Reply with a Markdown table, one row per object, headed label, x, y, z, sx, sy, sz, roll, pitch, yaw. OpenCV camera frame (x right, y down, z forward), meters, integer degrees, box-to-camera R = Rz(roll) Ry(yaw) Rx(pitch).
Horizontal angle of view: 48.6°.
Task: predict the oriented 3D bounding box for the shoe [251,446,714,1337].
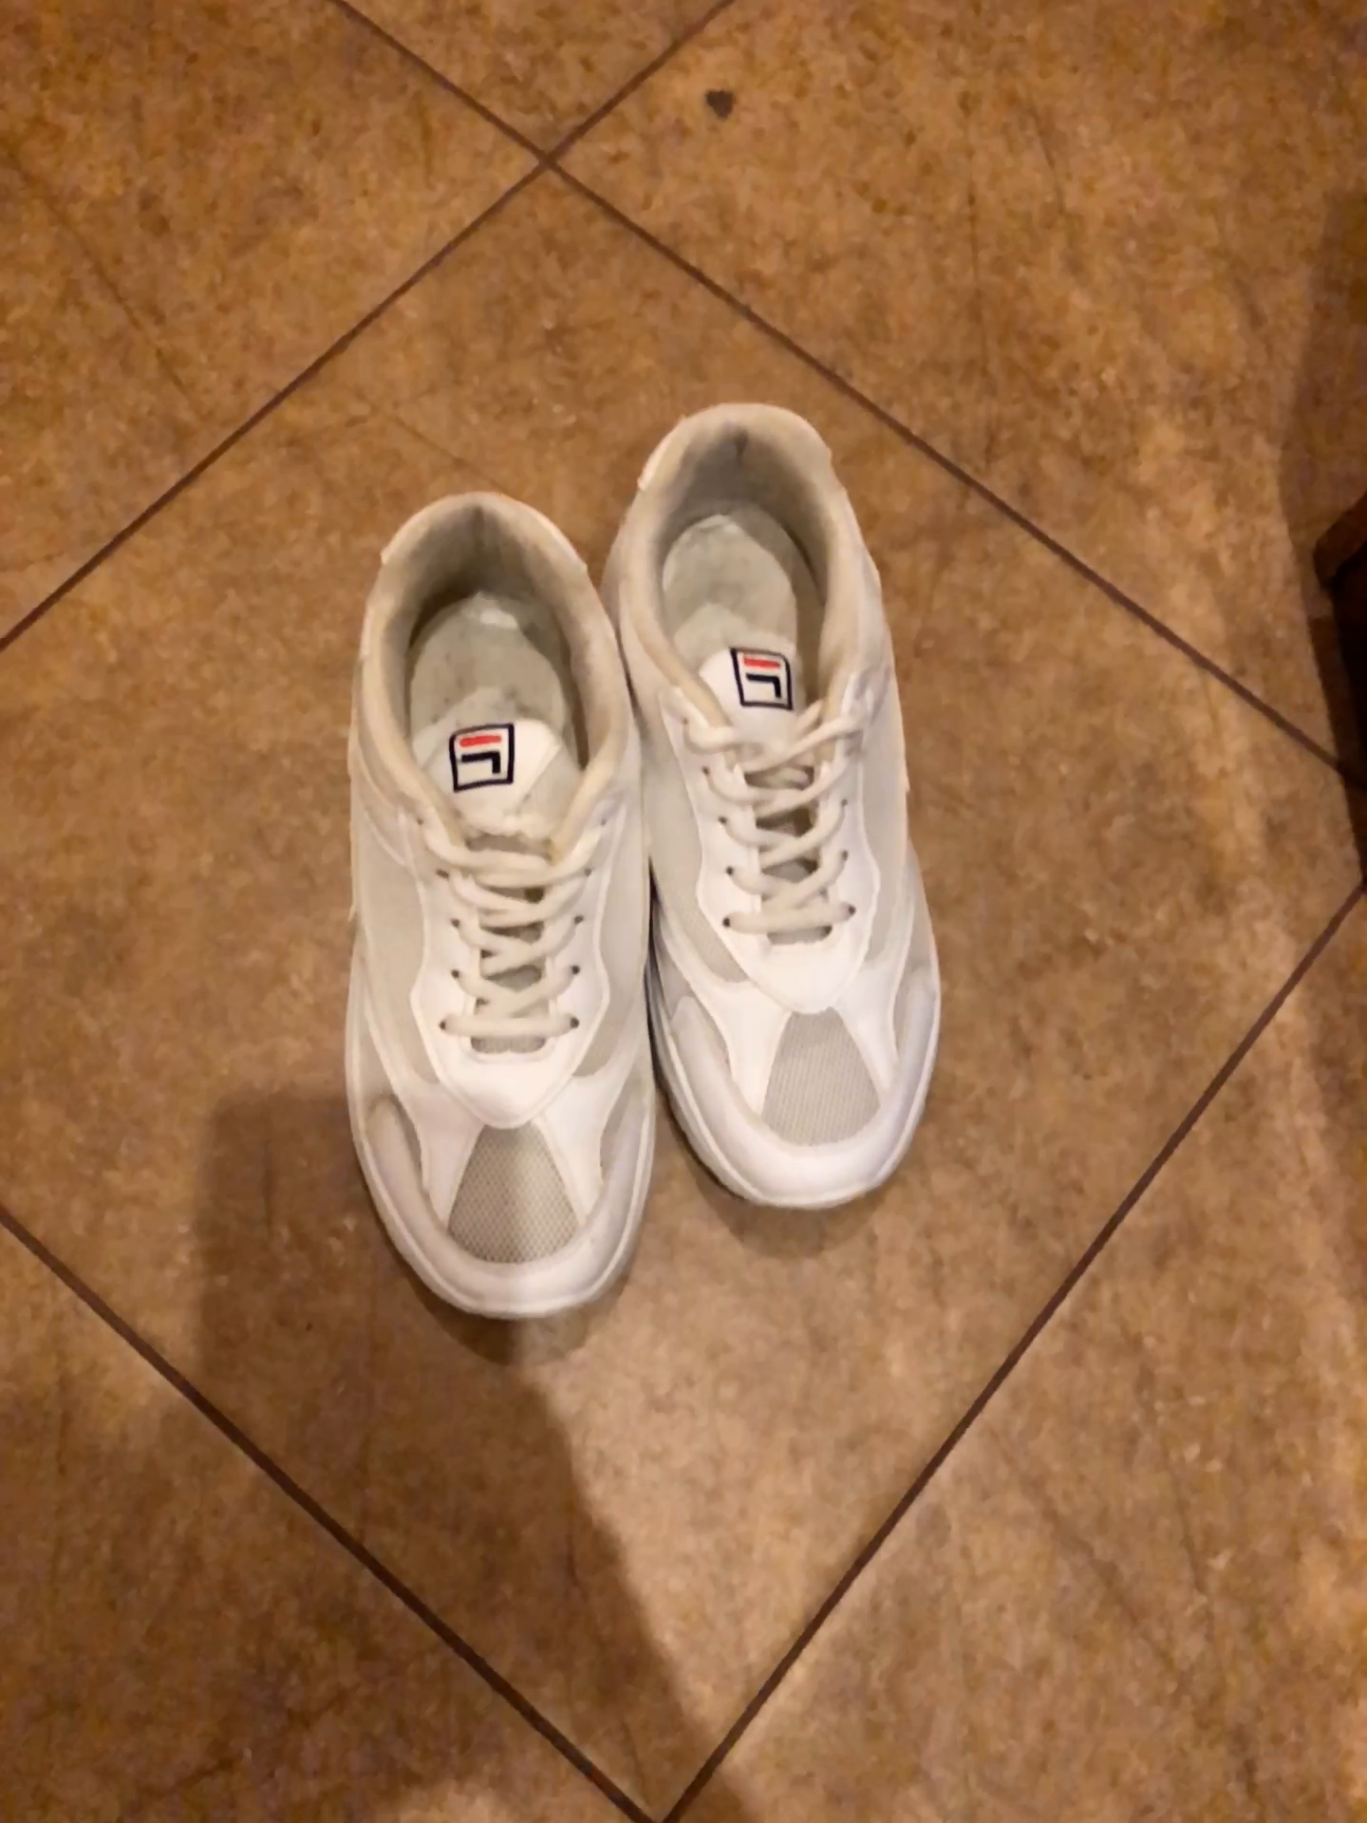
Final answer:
| label | x | y | z | sx | sy | sz | roll | pitch | yaw |
| --- | --- | --- | --- | --- | --- | --- | --- | --- | --- |
| shoe | -0.061 | -0.002 | 0.456 | 0.110 | 0.110 | 0.240 | -4 | 75 | -5 |

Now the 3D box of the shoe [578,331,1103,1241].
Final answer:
| label | x | y | z | sx | sy | sz | roll | pitch | yaw |
| --- | --- | --- | --- | --- | --- | --- | --- | --- | --- |
| shoe | 0.035 | -0.034 | 0.469 | 0.110 | 0.110 | 0.250 | -6 | 75 | -6 |
